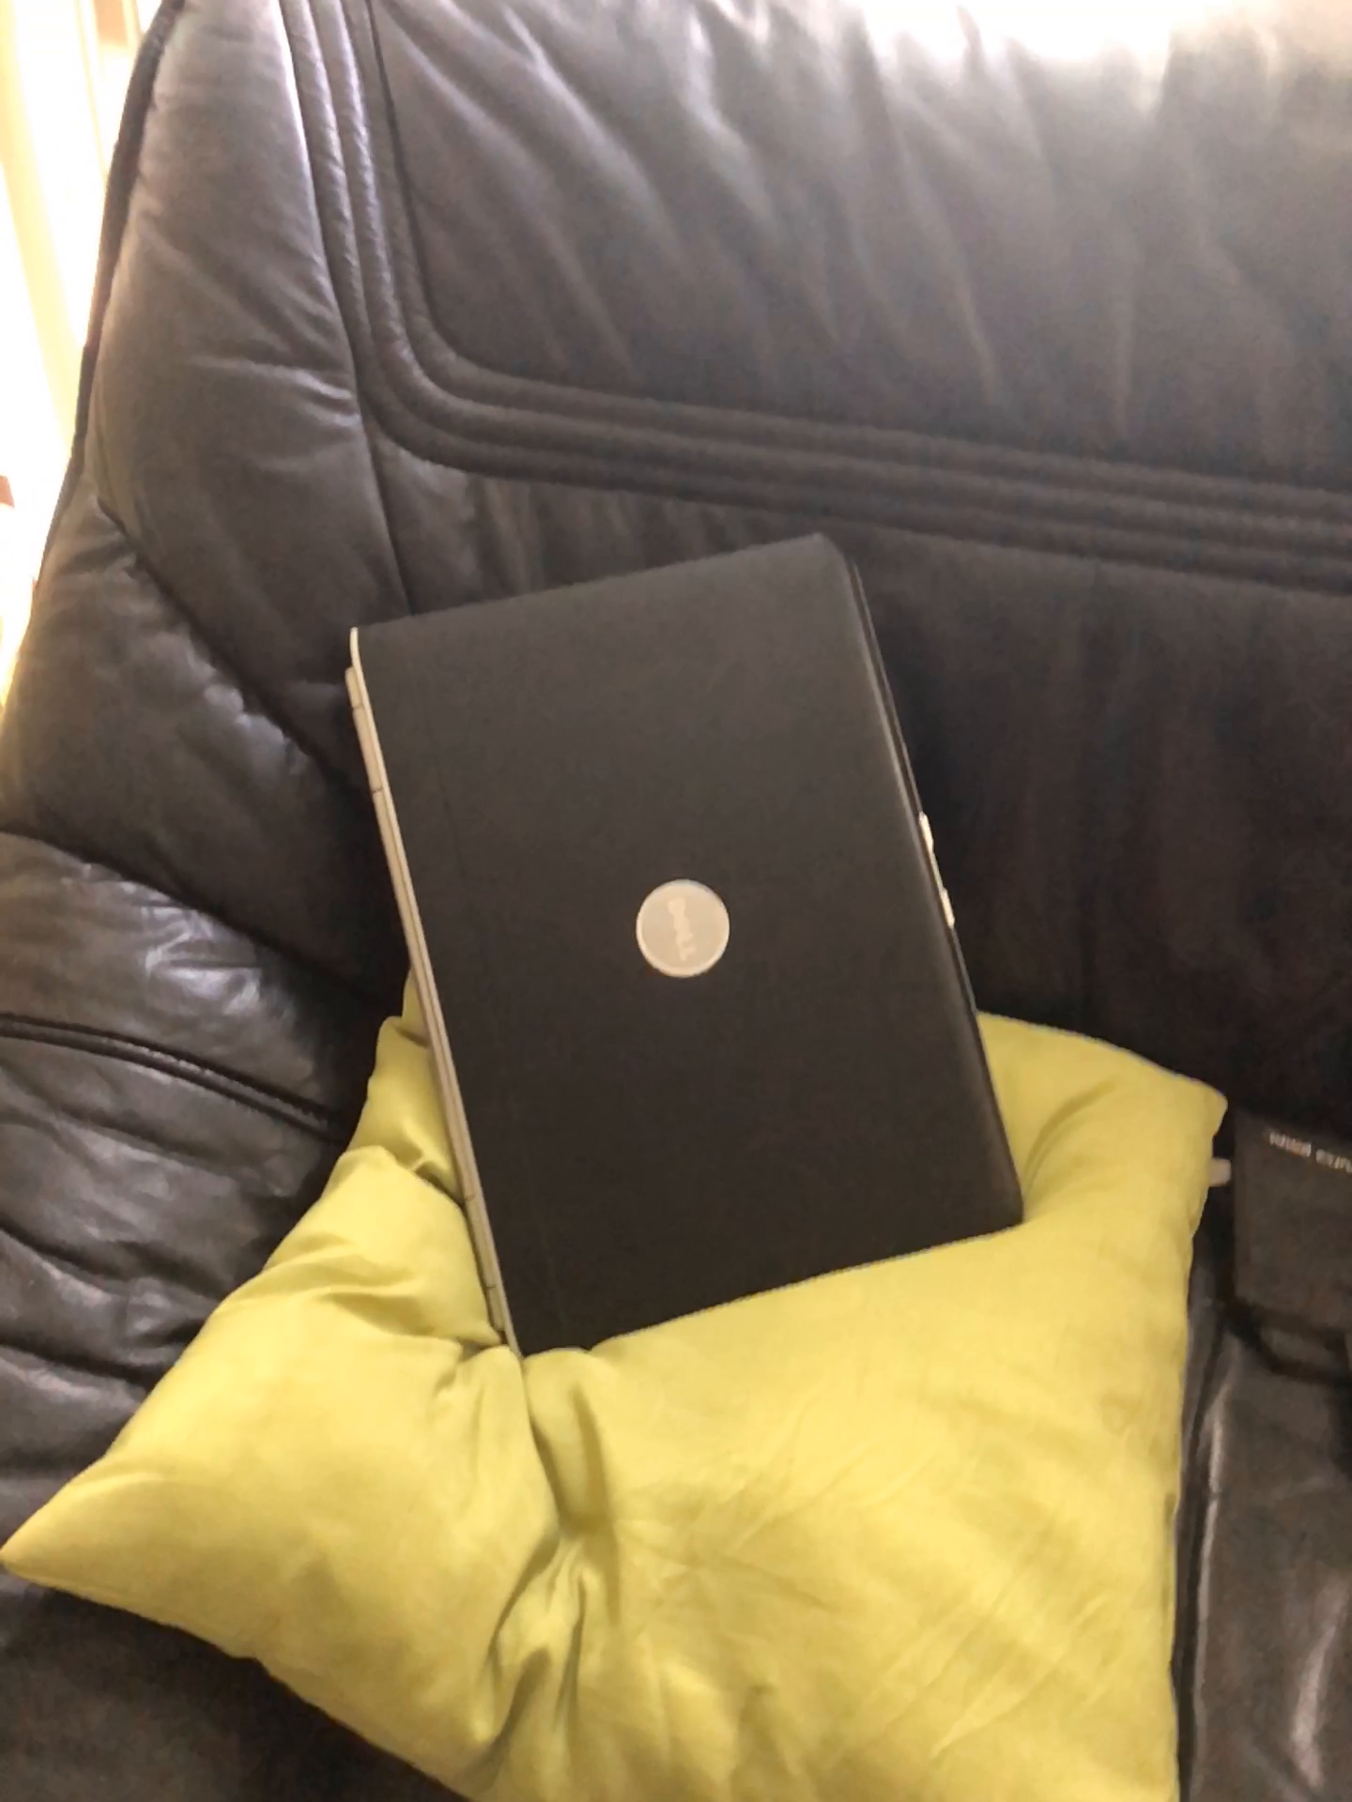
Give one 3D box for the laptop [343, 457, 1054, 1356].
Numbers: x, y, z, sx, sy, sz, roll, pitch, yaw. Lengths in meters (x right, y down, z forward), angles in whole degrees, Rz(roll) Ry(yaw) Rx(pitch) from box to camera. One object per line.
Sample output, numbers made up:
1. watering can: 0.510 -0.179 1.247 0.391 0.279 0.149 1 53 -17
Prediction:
1. laptop: 0.007 -0.003 0.690 0.247 0.033 0.345 -13 83 -7
